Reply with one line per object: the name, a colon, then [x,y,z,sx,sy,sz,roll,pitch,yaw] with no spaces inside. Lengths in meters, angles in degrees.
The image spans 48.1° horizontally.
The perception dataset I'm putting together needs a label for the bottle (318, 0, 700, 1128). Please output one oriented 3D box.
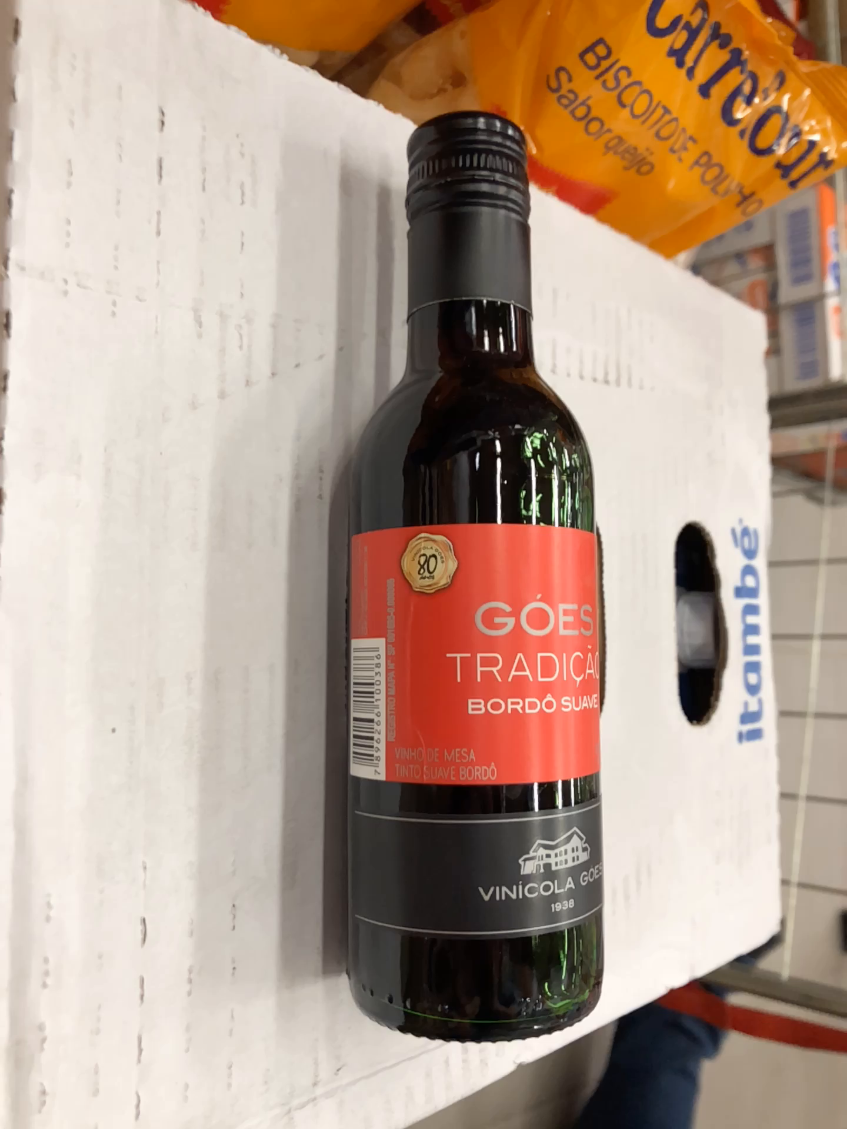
bottle: [0.017,-0.009,0.202,0.060,0.050,0.210,5,83,-43]
